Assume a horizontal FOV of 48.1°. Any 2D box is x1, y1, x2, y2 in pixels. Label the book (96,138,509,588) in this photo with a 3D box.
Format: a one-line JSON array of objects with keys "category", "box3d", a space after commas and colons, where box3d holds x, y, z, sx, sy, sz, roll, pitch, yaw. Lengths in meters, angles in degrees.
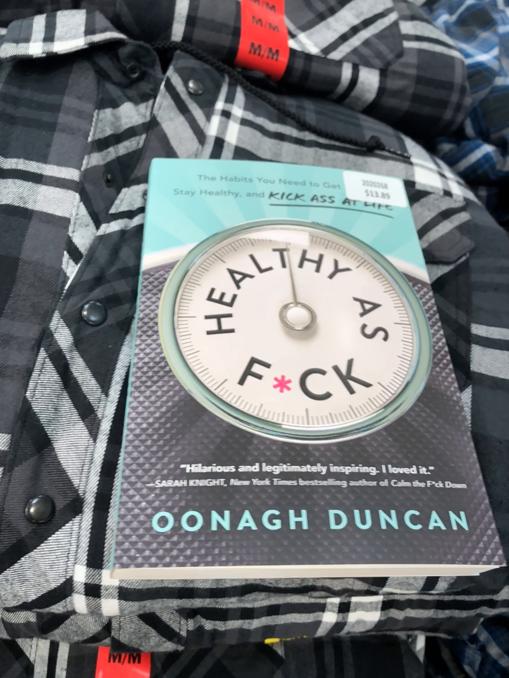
[{"category": "book", "box3d": [0.016, -0.006, 0.286, 0.156, 0.028, 0.238, 4, 55, -10]}]
